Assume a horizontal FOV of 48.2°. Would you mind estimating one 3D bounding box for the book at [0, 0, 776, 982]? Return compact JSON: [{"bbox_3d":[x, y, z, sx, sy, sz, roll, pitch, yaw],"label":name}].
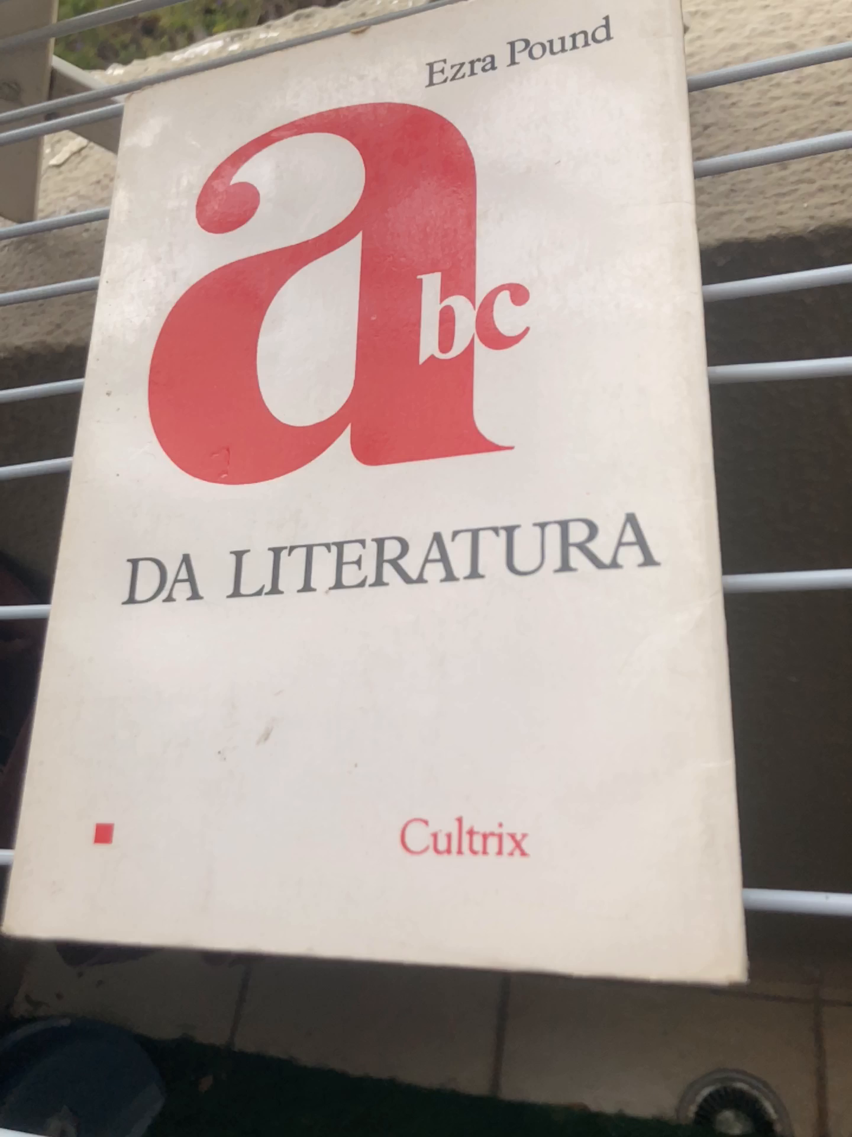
[{"bbox_3d":[-0.015,-0.027,0.185,0.140,0.017,0.188,-4,72,19],"label":"book"}]
